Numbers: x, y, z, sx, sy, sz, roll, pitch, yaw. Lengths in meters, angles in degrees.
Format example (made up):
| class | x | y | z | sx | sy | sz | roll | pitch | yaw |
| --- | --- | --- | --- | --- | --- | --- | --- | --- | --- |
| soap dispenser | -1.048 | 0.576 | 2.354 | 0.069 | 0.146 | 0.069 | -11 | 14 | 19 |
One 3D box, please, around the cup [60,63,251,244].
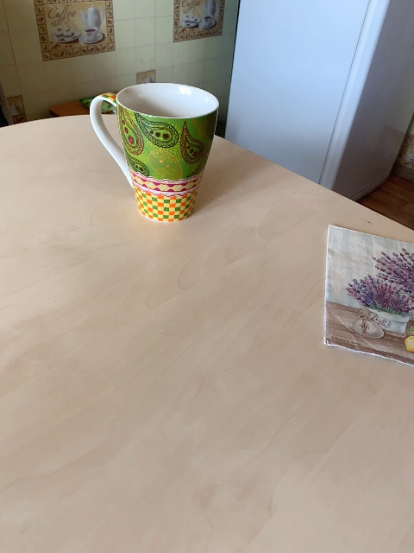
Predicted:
| class | x | y | z | sx | sy | sz | roll | pitch | yaw |
| --- | --- | --- | --- | --- | --- | --- | --- | --- | --- |
| cup | -0.049 | -0.126 | 0.417 | 0.130 | 0.109 | 0.110 | 30 | 45 | 25 |
